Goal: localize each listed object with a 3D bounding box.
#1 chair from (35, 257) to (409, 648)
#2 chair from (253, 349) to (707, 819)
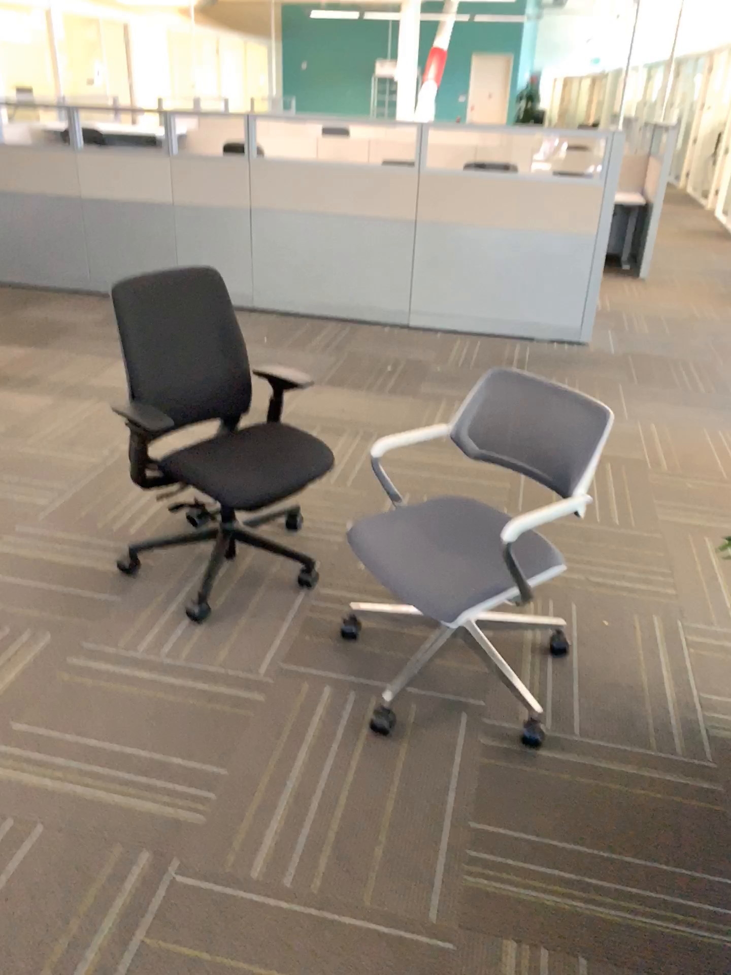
[{"bbox_3d":[-0.467,-0.199,2.506,0.801,0.885,0.854,-20,35,-37],"label":"chair"},{"bbox_3d":[0.257,0.159,2.045,0.790,0.756,0.804,-19,34,-35],"label":"chair"}]
